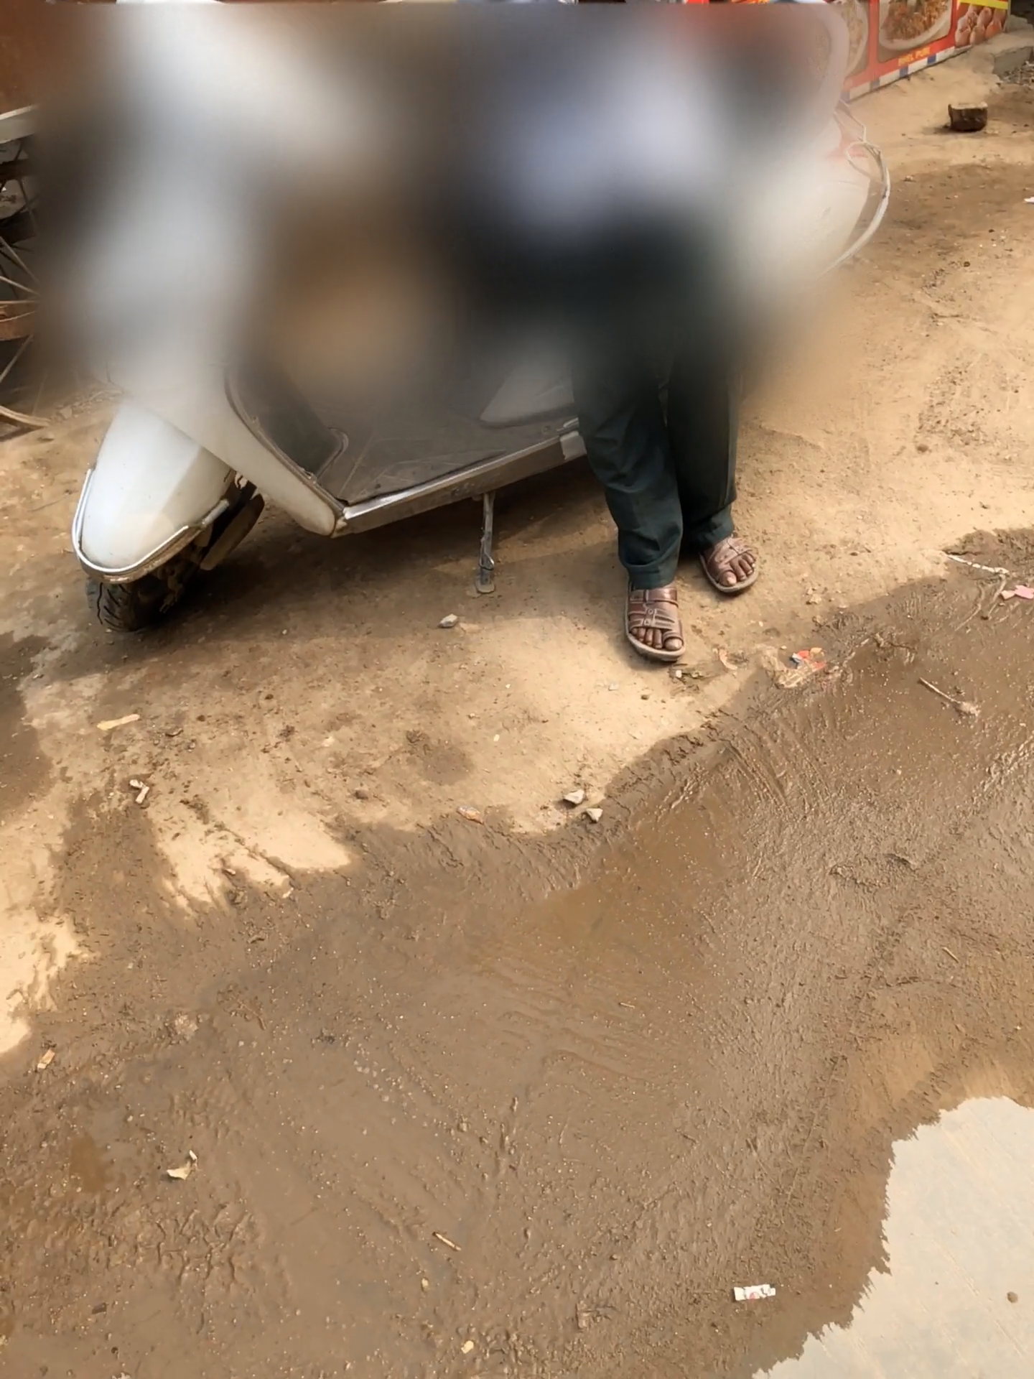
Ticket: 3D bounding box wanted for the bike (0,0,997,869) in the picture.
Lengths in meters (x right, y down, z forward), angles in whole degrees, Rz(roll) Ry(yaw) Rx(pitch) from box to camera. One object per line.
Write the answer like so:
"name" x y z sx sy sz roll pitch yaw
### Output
"bike" -0.089 -0.634 1.955 1.578 1.113 0.658 -25 42 -14
